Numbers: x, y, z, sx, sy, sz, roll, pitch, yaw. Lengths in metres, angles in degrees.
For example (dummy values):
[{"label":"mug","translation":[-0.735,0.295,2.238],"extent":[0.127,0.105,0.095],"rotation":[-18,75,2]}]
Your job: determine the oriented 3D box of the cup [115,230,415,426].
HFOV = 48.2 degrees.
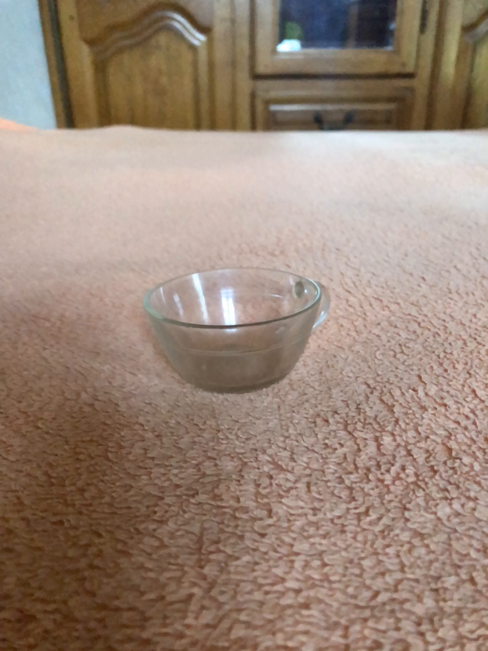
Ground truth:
[{"label":"cup","translation":[0.010,-0.009,0.267],"extent":[0.110,0.040,0.090],"rotation":[-19,30,-33]}]
